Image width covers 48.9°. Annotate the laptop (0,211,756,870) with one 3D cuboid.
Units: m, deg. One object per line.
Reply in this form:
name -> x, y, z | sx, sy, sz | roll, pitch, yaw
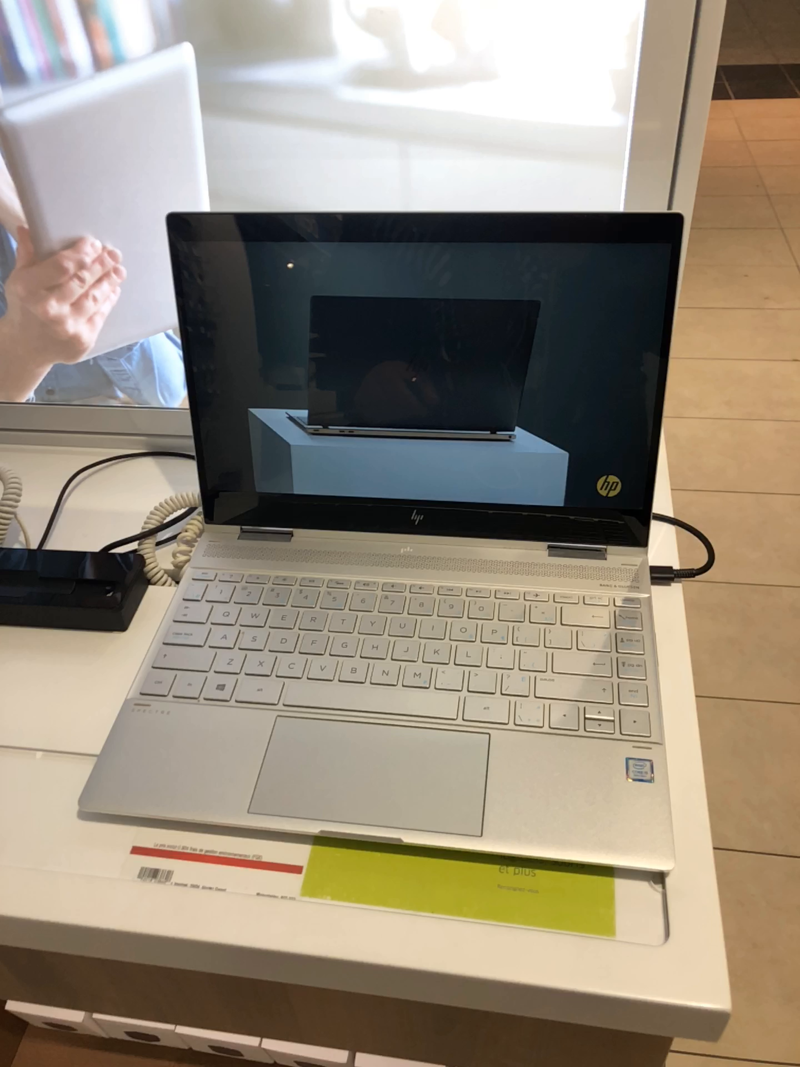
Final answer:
laptop -> -0.004, -0.018, 0.472 | 0.299, 0.193, 0.283 | 3, 42, 10
